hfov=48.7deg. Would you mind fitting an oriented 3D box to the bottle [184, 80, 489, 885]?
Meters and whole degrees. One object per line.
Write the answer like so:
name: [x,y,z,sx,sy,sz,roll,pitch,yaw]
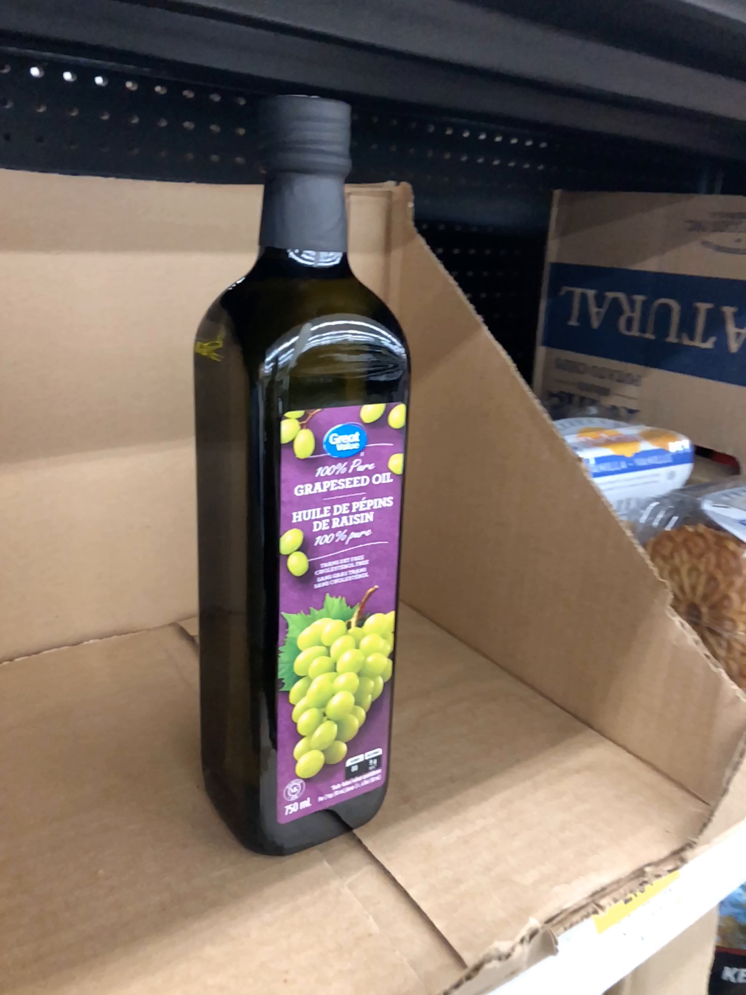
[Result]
bottle: [-0.022,0.002,0.315,0.080,0.278,0.060,-9,23,-33]
